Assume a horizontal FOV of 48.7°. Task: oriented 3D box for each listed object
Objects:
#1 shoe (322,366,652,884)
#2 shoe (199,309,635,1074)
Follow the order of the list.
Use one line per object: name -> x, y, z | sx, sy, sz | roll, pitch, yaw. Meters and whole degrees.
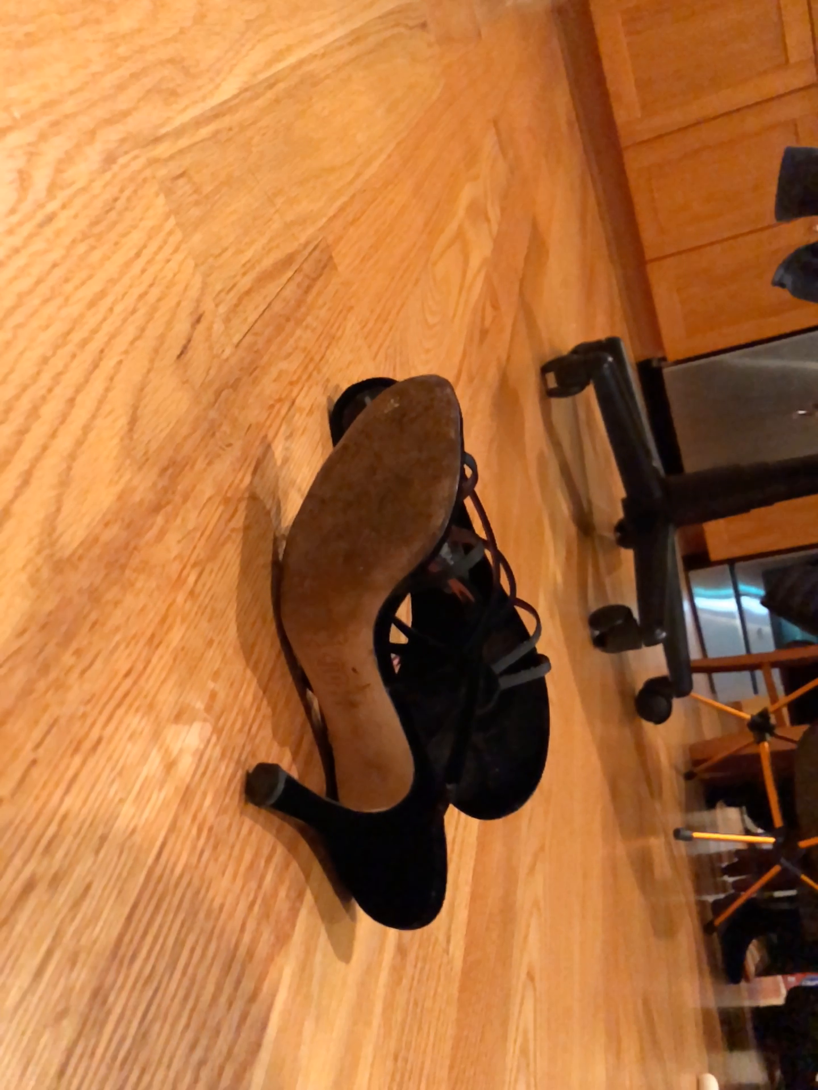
shoe -> 0.043, 0.039, 0.448 | 0.102, 0.104, 0.215 | 7, 72, -70
shoe -> 0.005, 0.051, 0.334 | 0.082, 0.104, 0.235 | 12, 67, -72
